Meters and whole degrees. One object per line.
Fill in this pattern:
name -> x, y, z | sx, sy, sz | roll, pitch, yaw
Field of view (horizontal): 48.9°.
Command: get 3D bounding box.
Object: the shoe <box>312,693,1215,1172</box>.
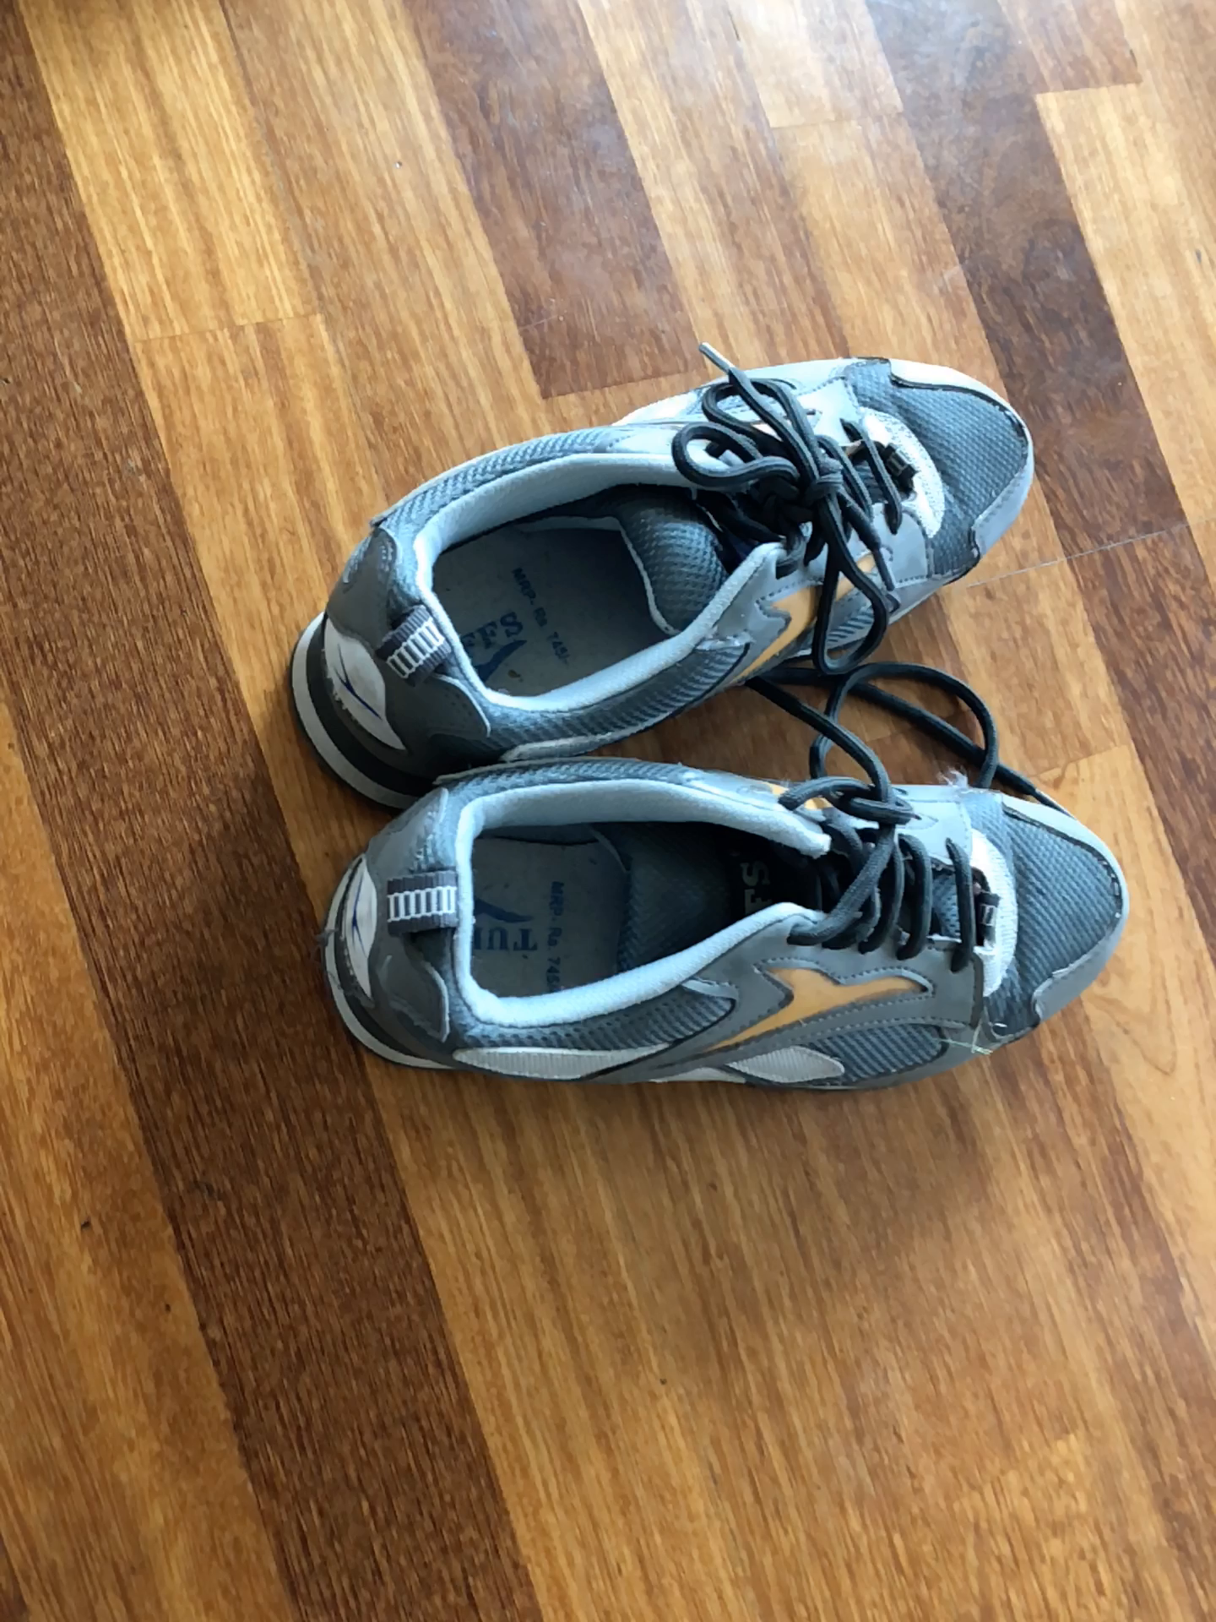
shoe -> 0.065, 0.031, 0.393 | 0.283, 0.088, 0.110 | -2, 78, -19

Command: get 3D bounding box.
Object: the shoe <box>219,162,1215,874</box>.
shoe -> 0.039, -0.094, 0.417 | 0.284, 0.099, 0.112 | -23, 86, -21
